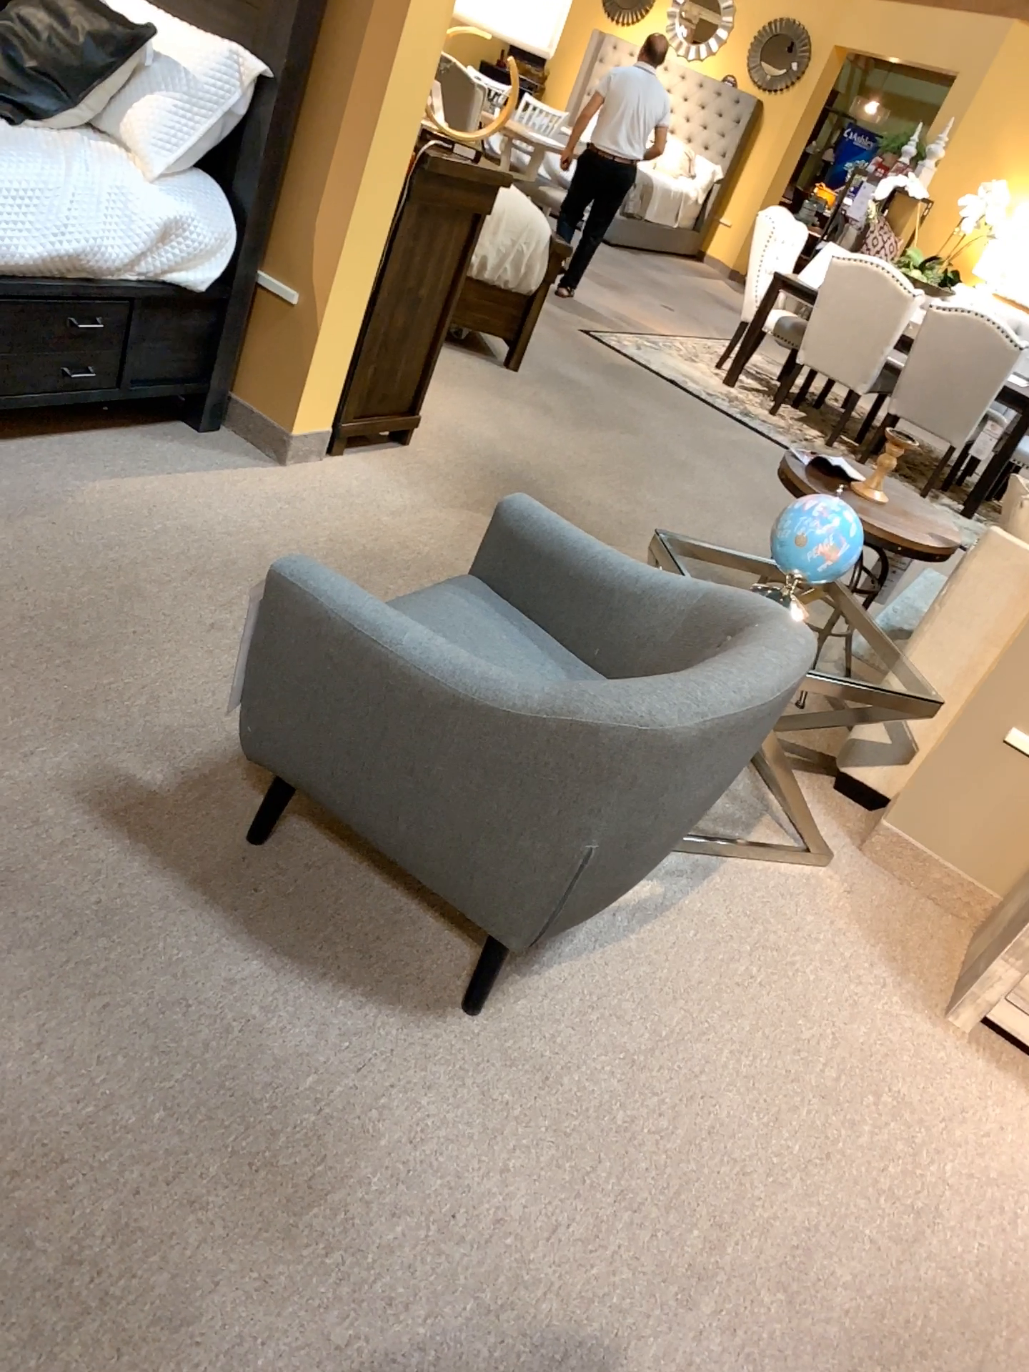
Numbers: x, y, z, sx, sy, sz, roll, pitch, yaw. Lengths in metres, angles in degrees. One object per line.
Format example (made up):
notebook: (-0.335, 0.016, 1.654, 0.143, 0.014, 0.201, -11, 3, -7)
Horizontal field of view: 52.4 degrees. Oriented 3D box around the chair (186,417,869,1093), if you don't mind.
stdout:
chair: (0.027, 0.041, 1.857, 0.742, 0.701, 0.750, 35, 31, 19)
